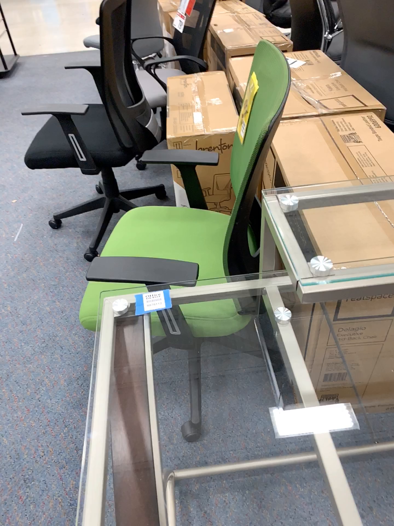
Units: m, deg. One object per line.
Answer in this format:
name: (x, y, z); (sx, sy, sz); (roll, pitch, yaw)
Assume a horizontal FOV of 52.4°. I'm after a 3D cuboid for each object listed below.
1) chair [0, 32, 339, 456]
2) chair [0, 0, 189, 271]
chair: (-0.035, -0.029, 1.103); (0.597, 0.912, 0.647); (3, 43, 9)
chair: (-0.447, -0.560, 1.680); (0.657, 0.972, 0.647); (3, 43, 9)
